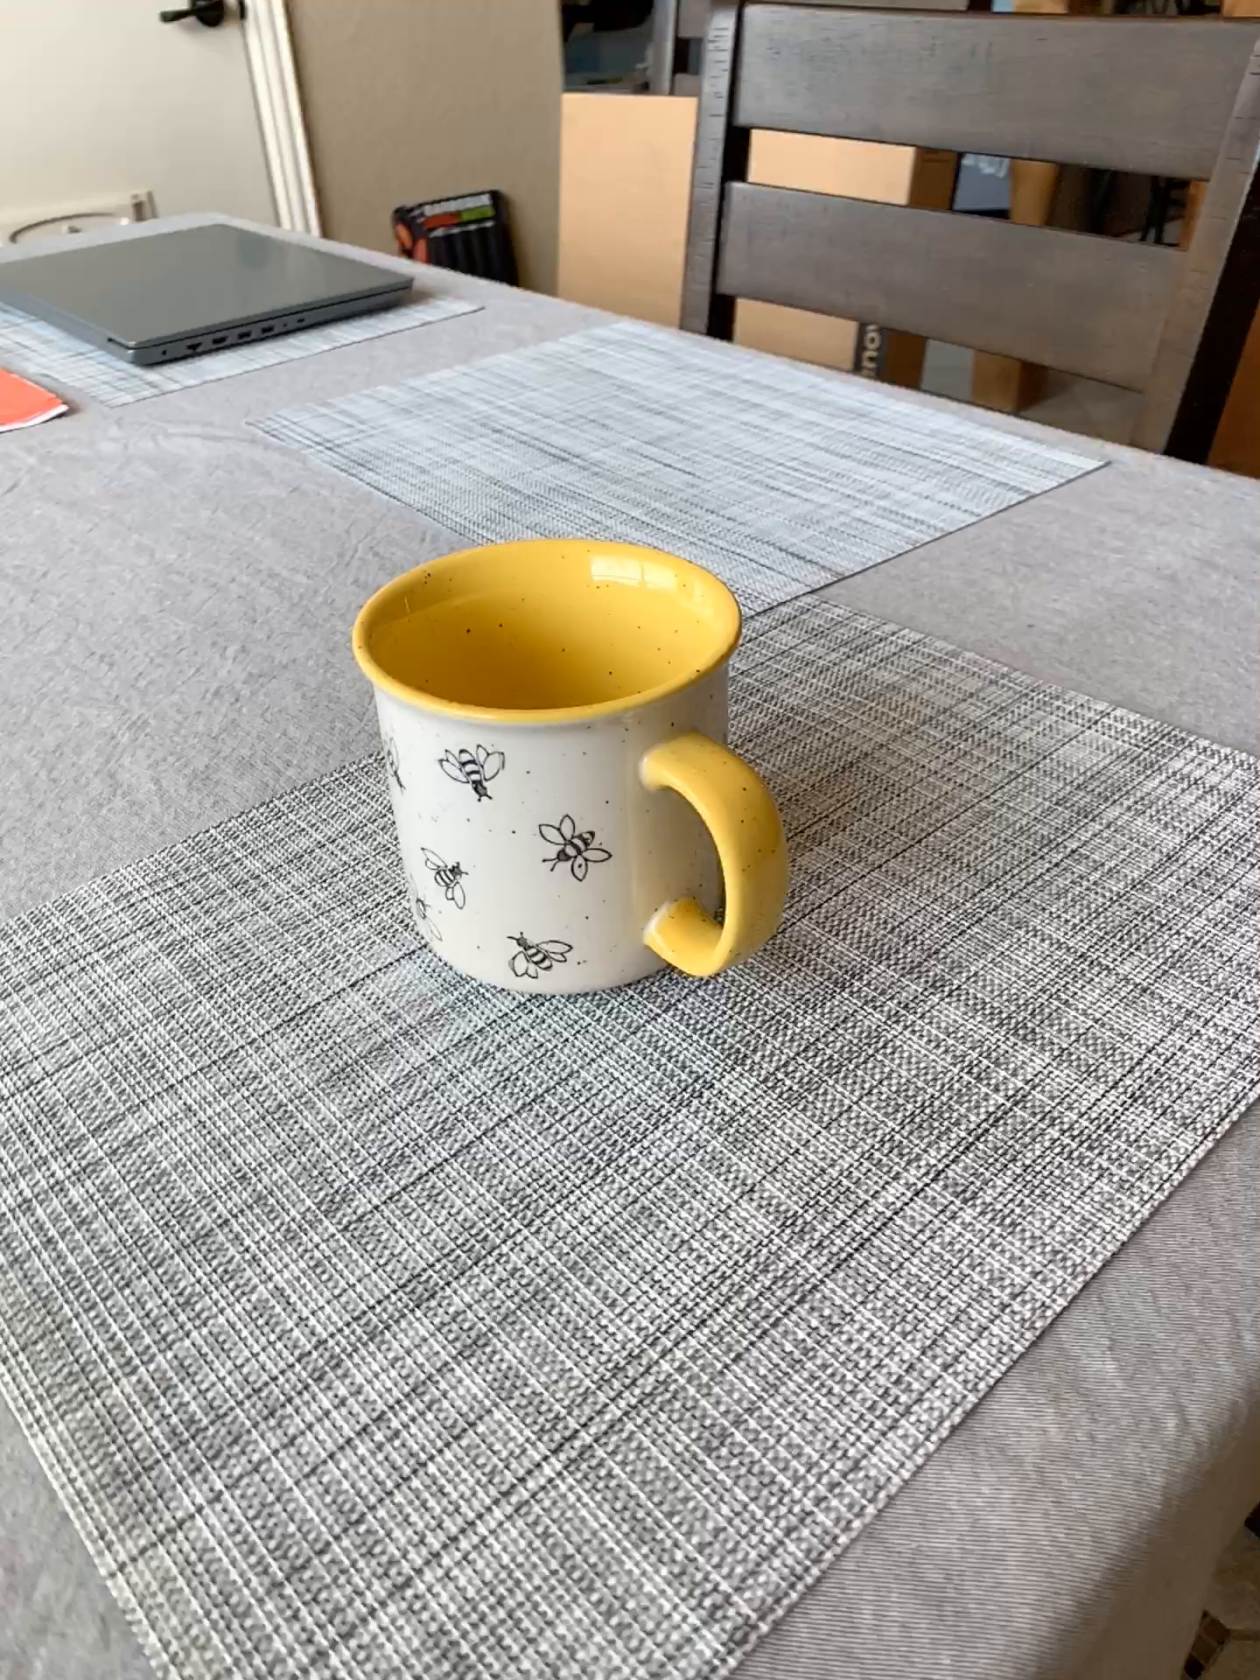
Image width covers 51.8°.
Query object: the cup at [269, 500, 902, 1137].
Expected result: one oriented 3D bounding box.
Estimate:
[{"bbox_3d":[-0.014,-0.017,0.384,0.113,0.107,0.137,-27,42,-30],"label":"cup"}]
